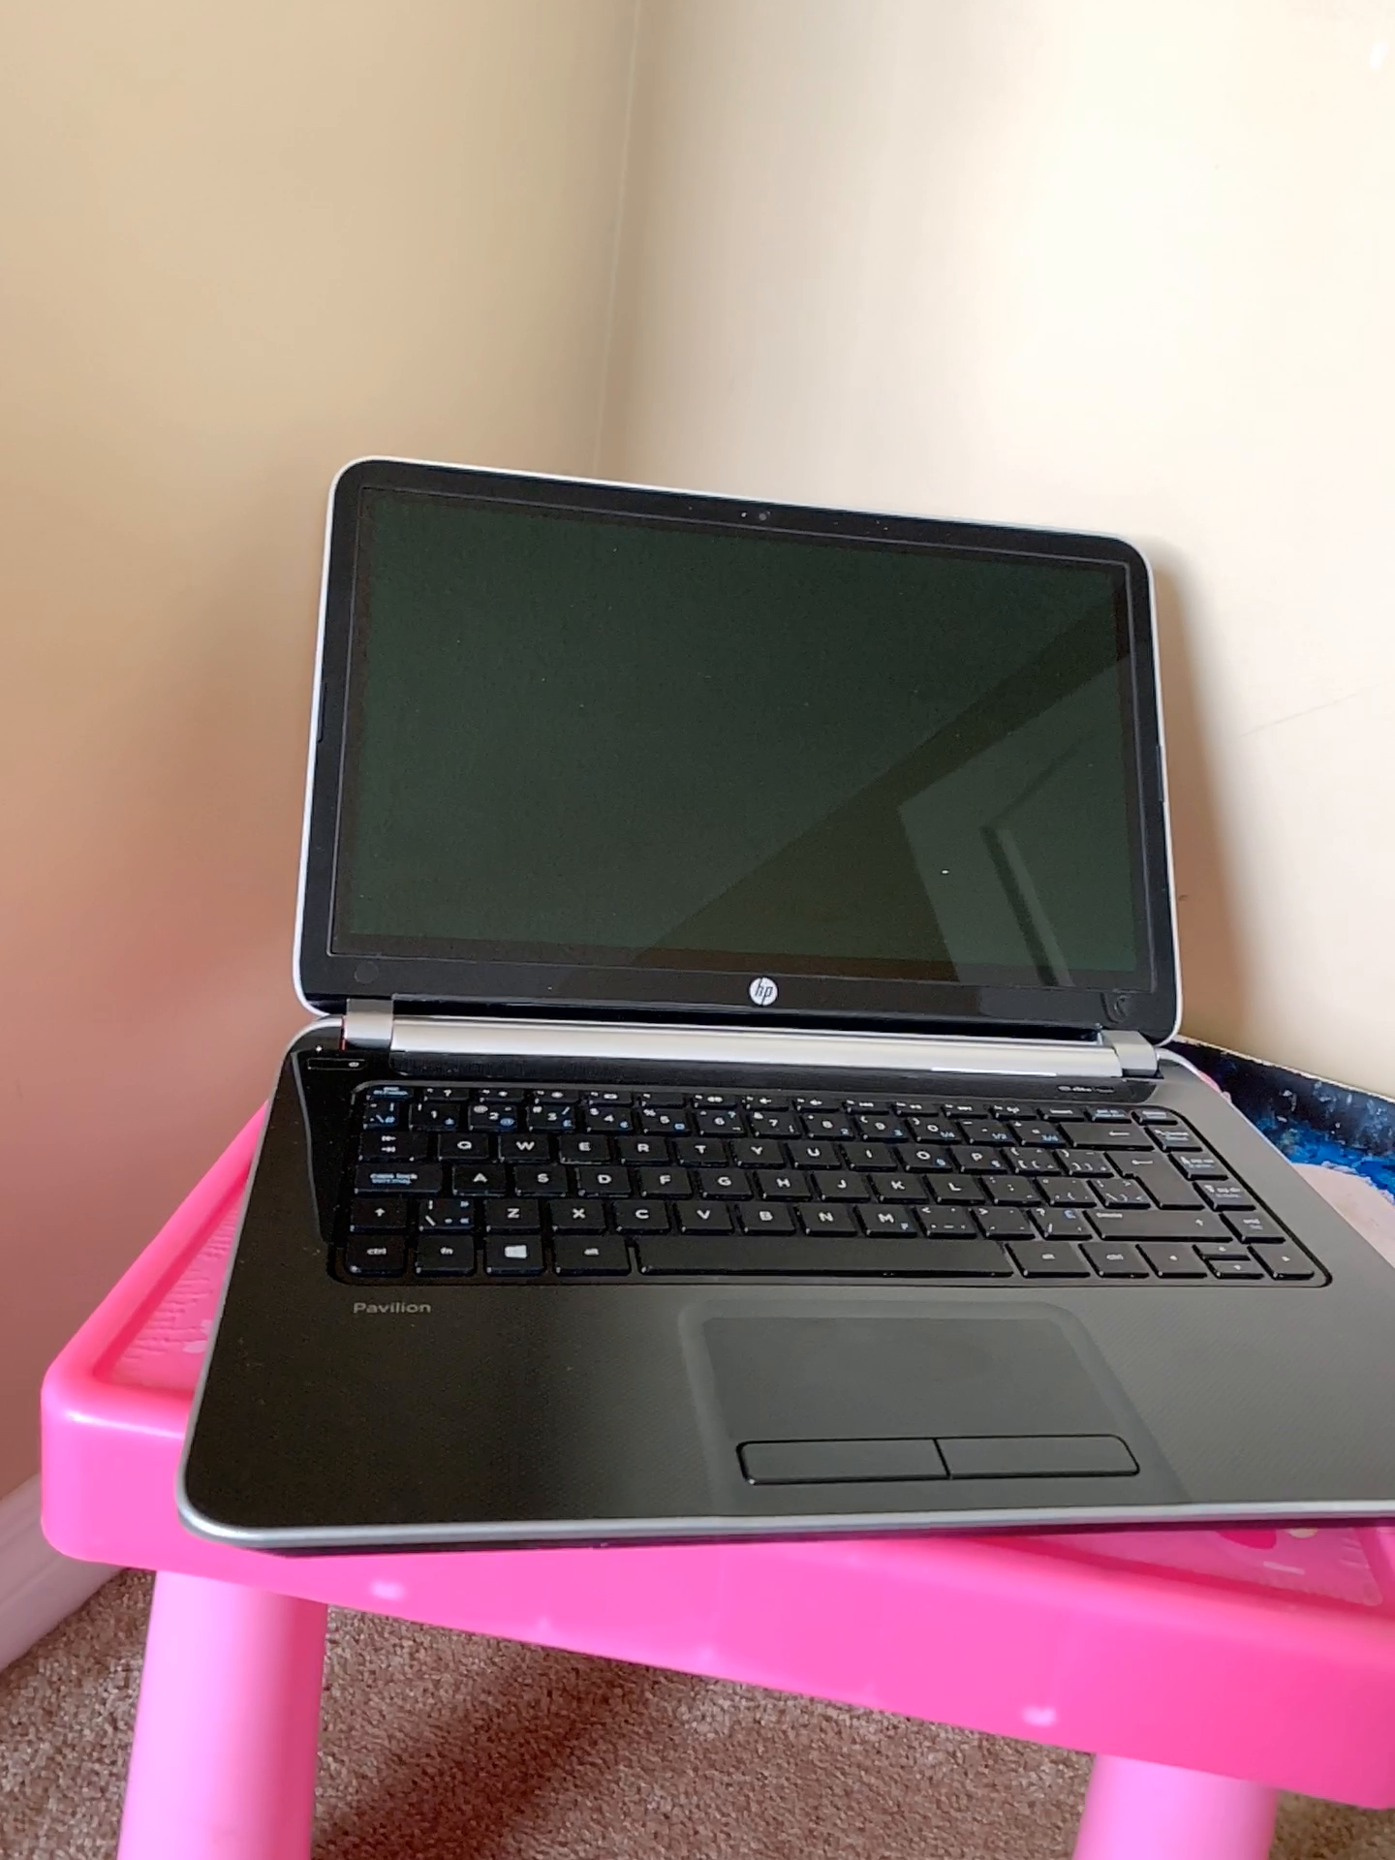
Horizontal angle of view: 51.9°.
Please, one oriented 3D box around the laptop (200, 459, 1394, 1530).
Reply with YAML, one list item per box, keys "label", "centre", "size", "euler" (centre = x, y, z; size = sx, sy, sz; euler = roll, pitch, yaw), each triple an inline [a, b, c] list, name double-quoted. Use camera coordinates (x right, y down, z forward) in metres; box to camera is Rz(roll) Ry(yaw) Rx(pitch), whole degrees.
- label: "laptop"
  centre: [0.032, -0.013, 0.385]
  size: [0.274, 0.161, 0.272]
  euler: [3, 23, -11]
